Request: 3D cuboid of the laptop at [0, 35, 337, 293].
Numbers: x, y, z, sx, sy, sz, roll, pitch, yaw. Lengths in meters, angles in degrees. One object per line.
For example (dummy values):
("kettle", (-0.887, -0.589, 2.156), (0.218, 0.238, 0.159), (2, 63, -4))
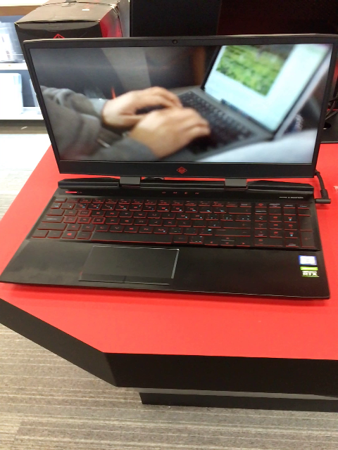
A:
("laptop", (-0.010, -0.079, 0.547), (0.380, 0.225, 0.238), (2, 44, 8))
